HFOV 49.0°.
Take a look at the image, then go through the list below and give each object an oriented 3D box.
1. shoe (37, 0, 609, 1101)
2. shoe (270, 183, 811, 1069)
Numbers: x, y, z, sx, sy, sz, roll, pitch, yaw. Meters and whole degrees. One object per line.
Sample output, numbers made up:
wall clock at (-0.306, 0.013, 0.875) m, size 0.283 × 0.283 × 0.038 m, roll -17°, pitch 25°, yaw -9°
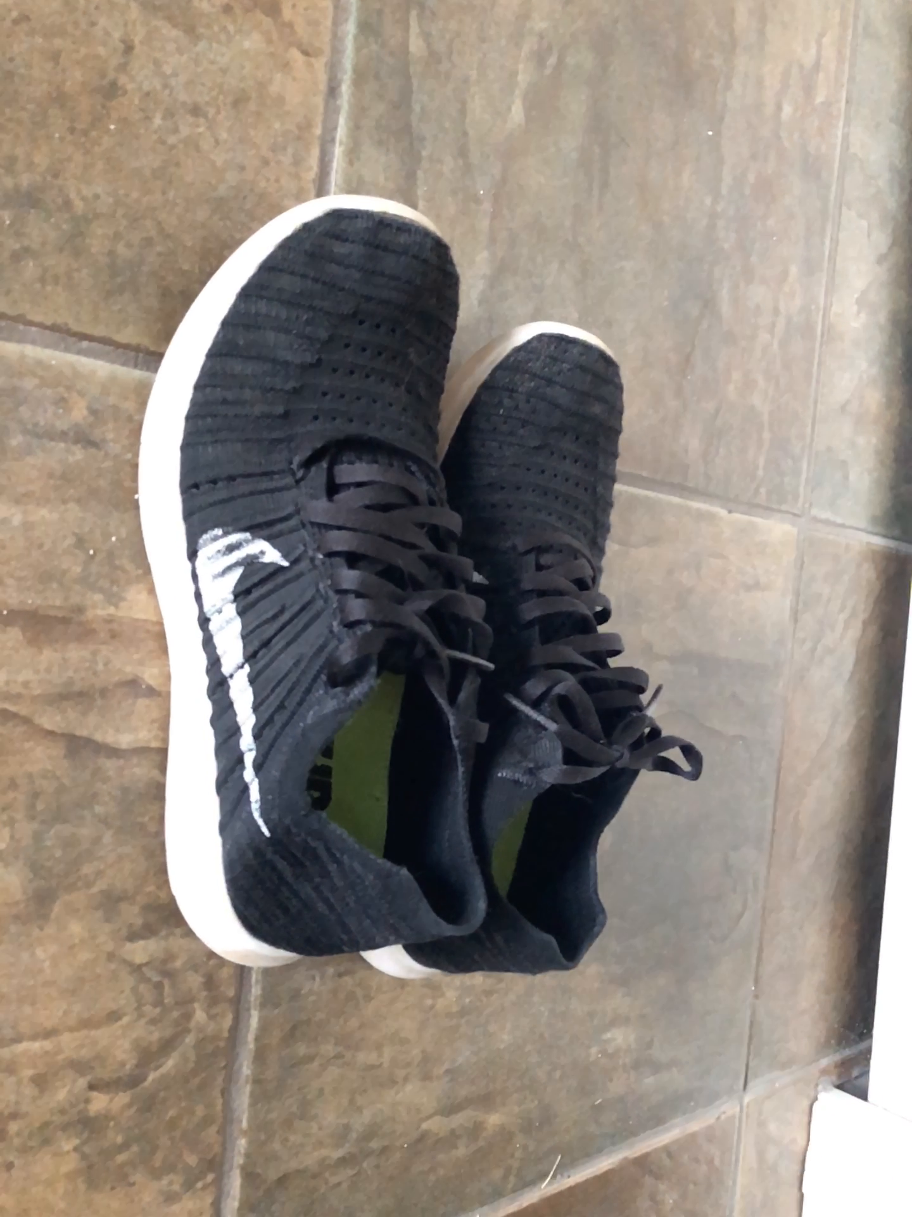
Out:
shoe at (-0.042, -0.013, 0.308) m, size 0.110 × 0.100 × 0.260 m, roll 6°, pitch 90°, yaw -40°
shoe at (0.032, 0.008, 0.361) m, size 0.110 × 0.100 × 0.260 m, roll 15°, pitch 85°, yaw -40°
